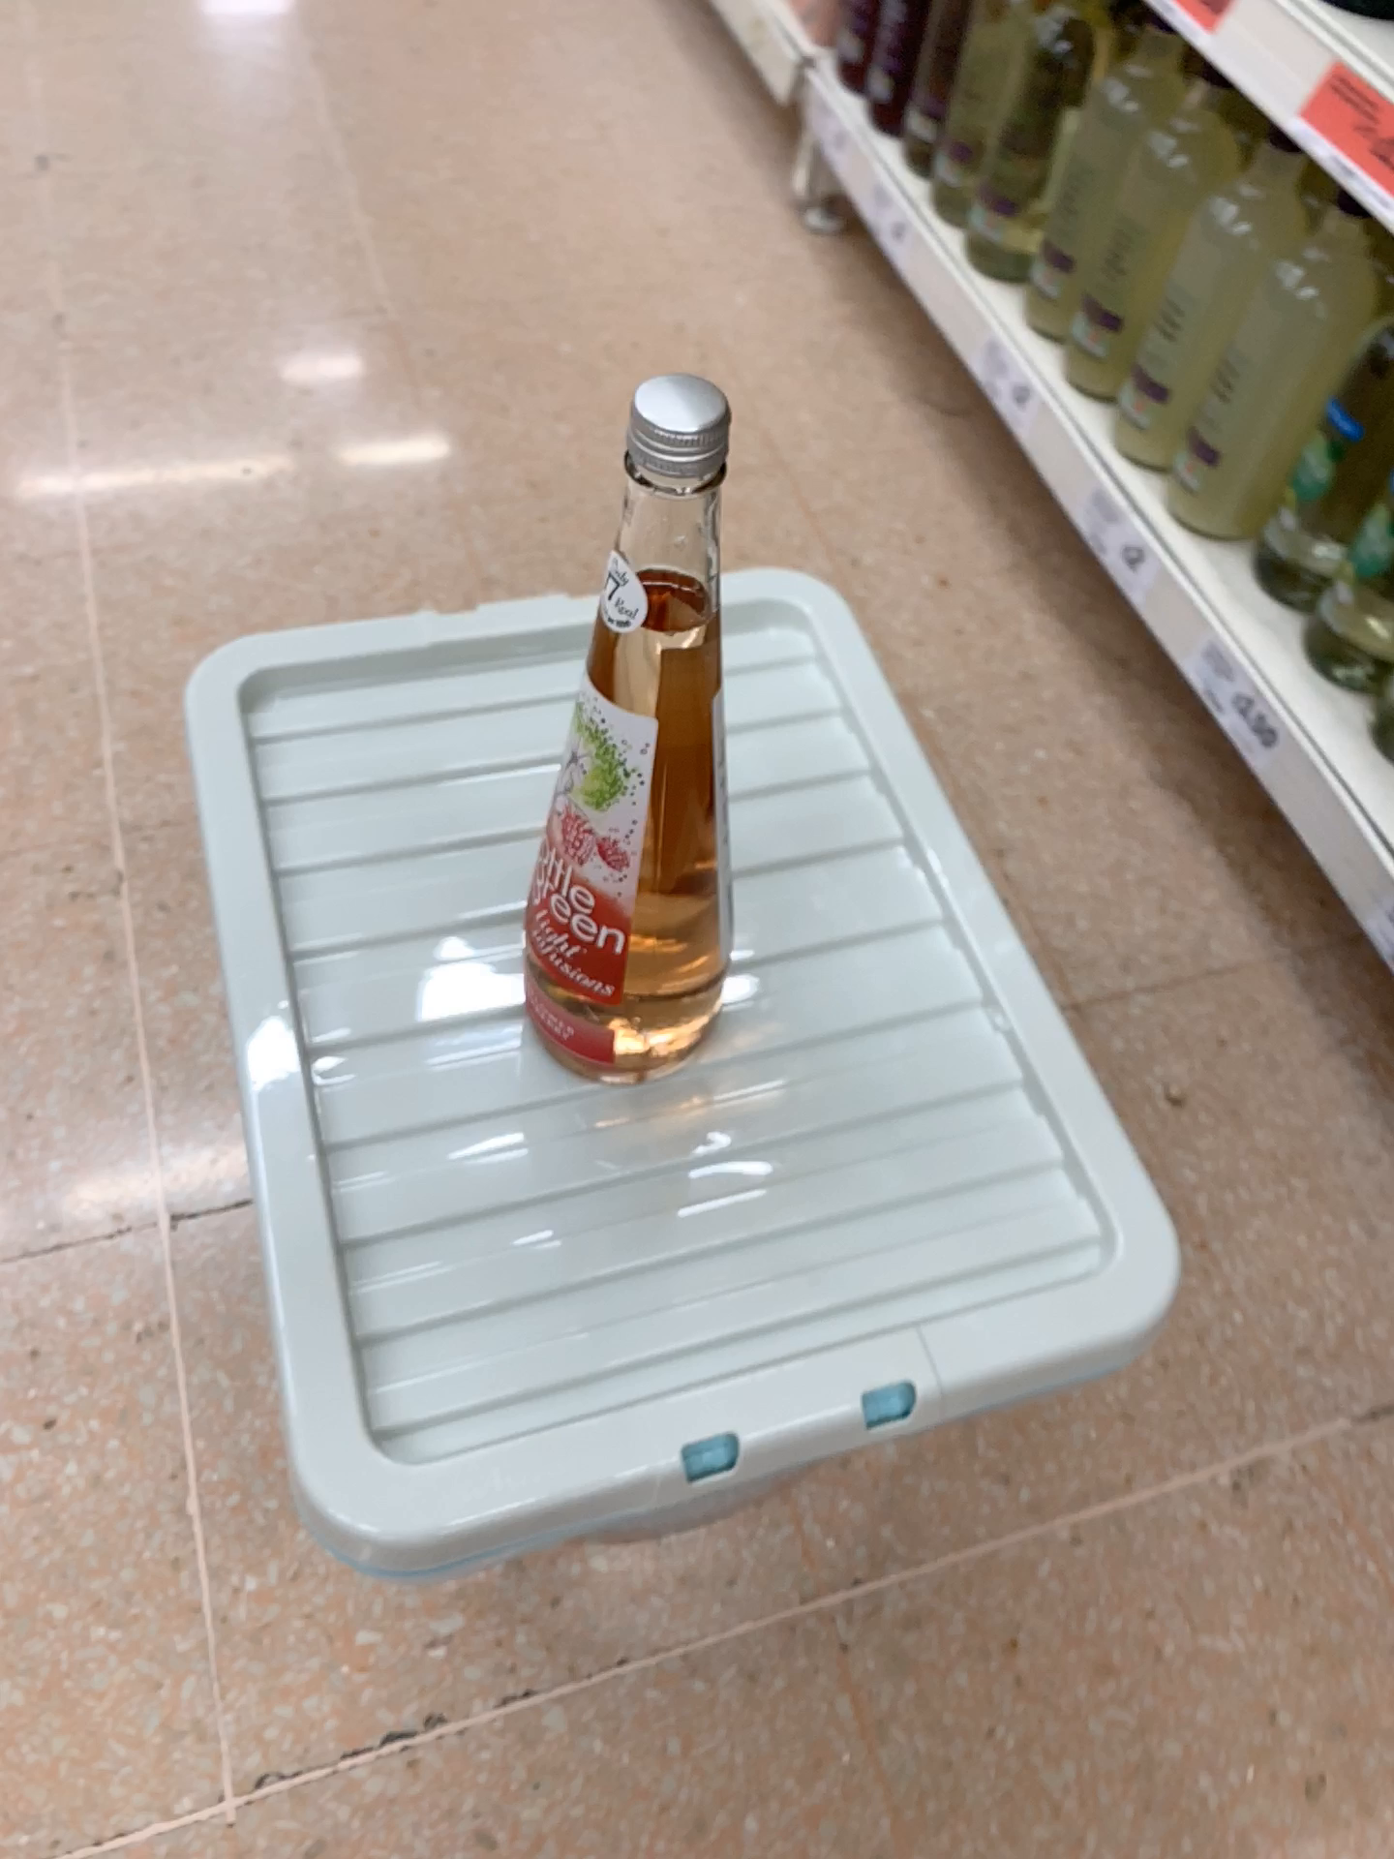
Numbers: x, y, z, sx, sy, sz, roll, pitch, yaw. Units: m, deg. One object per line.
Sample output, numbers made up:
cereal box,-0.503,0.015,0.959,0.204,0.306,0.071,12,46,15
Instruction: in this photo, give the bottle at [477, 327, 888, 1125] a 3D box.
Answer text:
bottle,-0.019,-0.048,0.513,0.090,0.299,0.081,-14,57,-16
